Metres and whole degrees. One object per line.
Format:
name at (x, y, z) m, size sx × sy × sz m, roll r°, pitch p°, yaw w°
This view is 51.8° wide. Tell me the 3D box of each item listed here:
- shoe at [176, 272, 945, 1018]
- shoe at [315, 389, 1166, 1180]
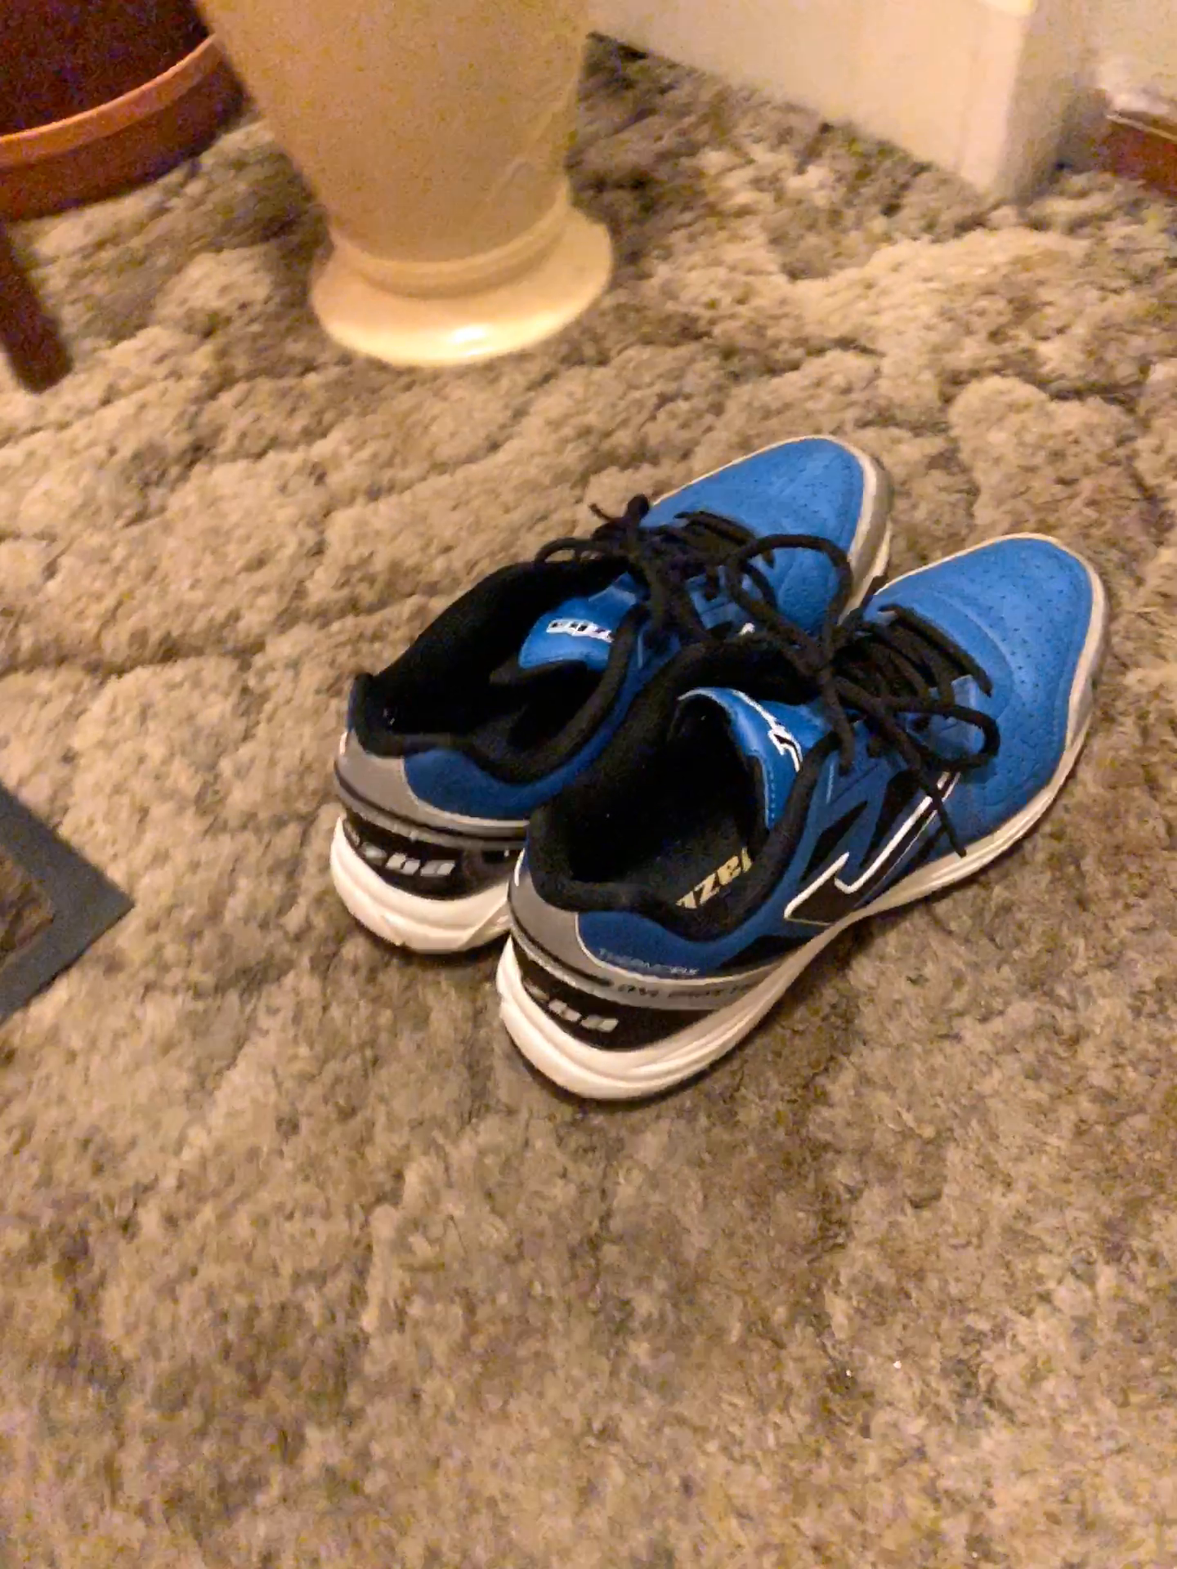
shoe at (0.003, -0.059, 0.464) m, size 0.271 × 0.119 × 0.100 m, roll -41°, pitch 62°, yaw -19°
shoe at (0.061, -0.005, 0.440) m, size 0.281 × 0.119 × 0.100 m, roll -37°, pitch 60°, yaw -17°
